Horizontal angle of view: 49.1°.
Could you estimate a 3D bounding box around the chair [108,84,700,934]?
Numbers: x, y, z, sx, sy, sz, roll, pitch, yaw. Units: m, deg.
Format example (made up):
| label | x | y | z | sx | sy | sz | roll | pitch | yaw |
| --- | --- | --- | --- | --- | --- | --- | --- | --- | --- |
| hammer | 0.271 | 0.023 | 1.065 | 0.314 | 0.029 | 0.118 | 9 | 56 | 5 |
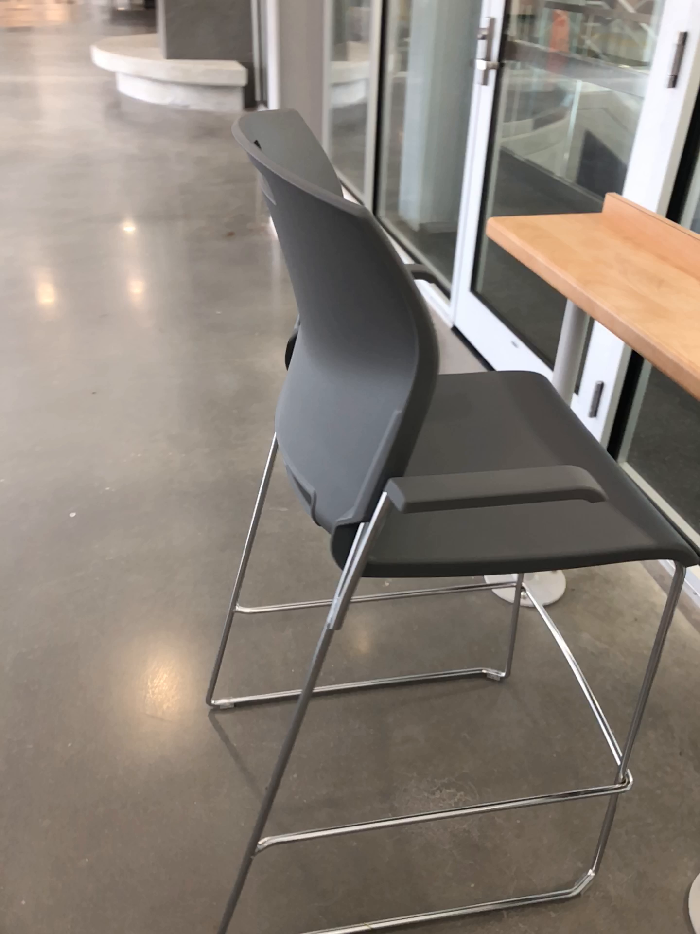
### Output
| label | x | y | z | sx | sy | sz | roll | pitch | yaw |
| --- | --- | --- | --- | --- | --- | --- | --- | --- | --- |
| chair | 0.093 | 0.109 | 1.066 | 0.660 | 1.073 | 0.604 | -5 | 34 | -11 |
